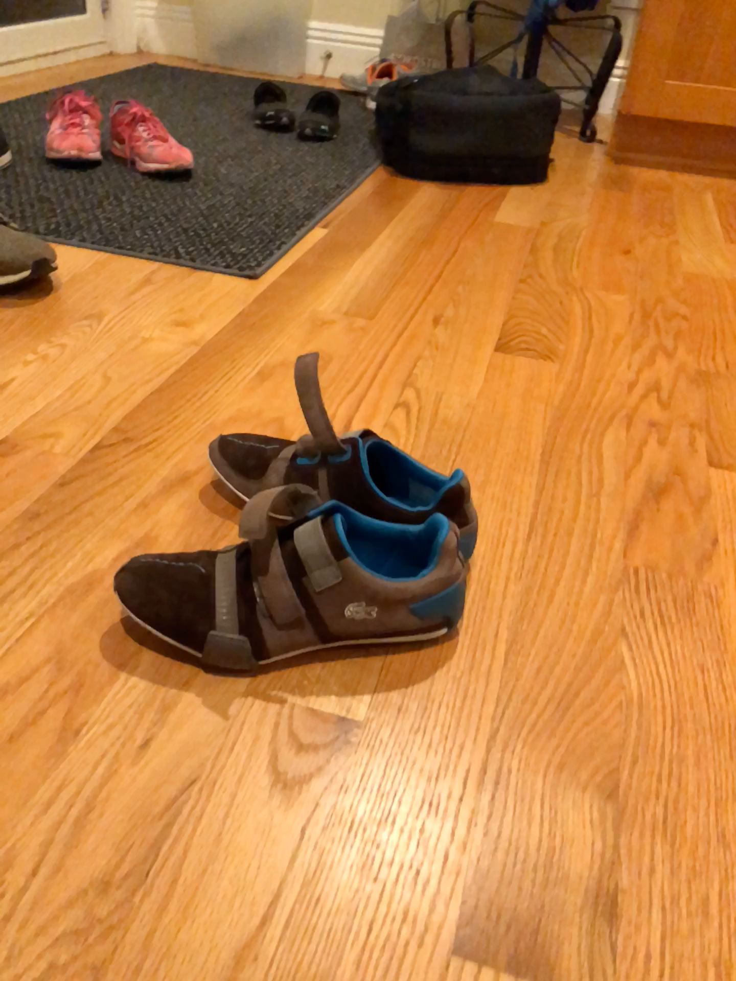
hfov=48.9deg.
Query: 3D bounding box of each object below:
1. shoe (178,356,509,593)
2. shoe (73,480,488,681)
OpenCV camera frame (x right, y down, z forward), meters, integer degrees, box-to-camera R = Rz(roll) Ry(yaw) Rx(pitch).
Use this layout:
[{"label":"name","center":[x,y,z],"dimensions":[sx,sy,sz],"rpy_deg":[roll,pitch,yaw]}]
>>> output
[{"label":"shoe","center":[-0.024,-0.022,0.693],"dimensions":[0.255,0.091,0.103],"rpy_deg":[20,37,20]},{"label":"shoe","center":[-0.058,0.060,0.567],"dimensions":[0.255,0.091,0.103],"rpy_deg":[0,35,-7]}]
